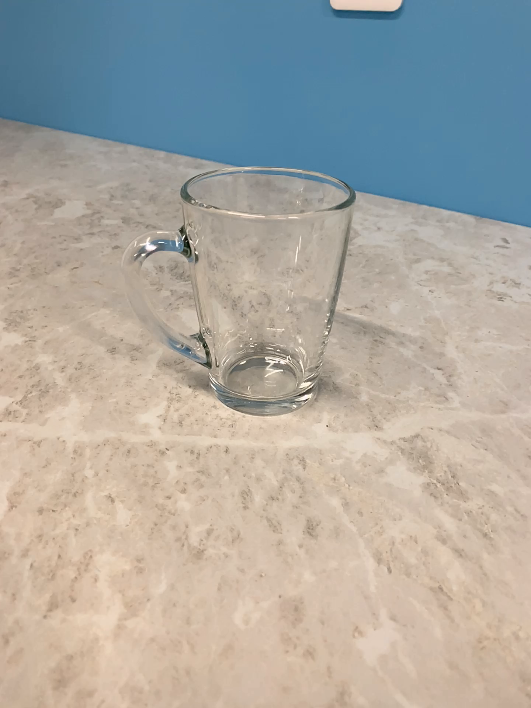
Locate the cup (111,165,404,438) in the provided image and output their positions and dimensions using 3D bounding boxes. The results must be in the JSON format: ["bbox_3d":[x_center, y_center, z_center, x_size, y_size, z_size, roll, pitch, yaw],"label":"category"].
[{"bbox_3d":[-0.011,-0.032,0.275,0.115,0.097,0.089,-6,32,-13],"label":"cup"}]
